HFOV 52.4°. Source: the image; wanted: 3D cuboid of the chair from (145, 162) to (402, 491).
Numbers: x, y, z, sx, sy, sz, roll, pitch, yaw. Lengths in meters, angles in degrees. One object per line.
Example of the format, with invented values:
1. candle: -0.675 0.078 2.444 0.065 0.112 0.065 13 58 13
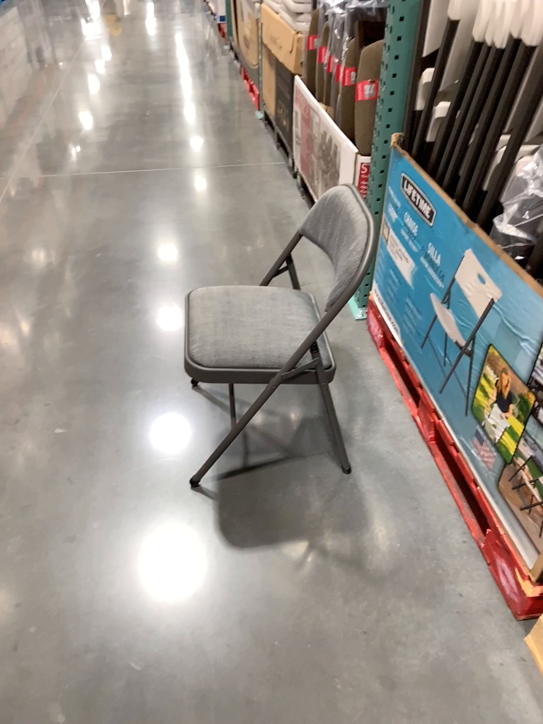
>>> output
1. chair: -0.023 -0.093 1.478 0.502 0.687 0.497 -4 40 -6
